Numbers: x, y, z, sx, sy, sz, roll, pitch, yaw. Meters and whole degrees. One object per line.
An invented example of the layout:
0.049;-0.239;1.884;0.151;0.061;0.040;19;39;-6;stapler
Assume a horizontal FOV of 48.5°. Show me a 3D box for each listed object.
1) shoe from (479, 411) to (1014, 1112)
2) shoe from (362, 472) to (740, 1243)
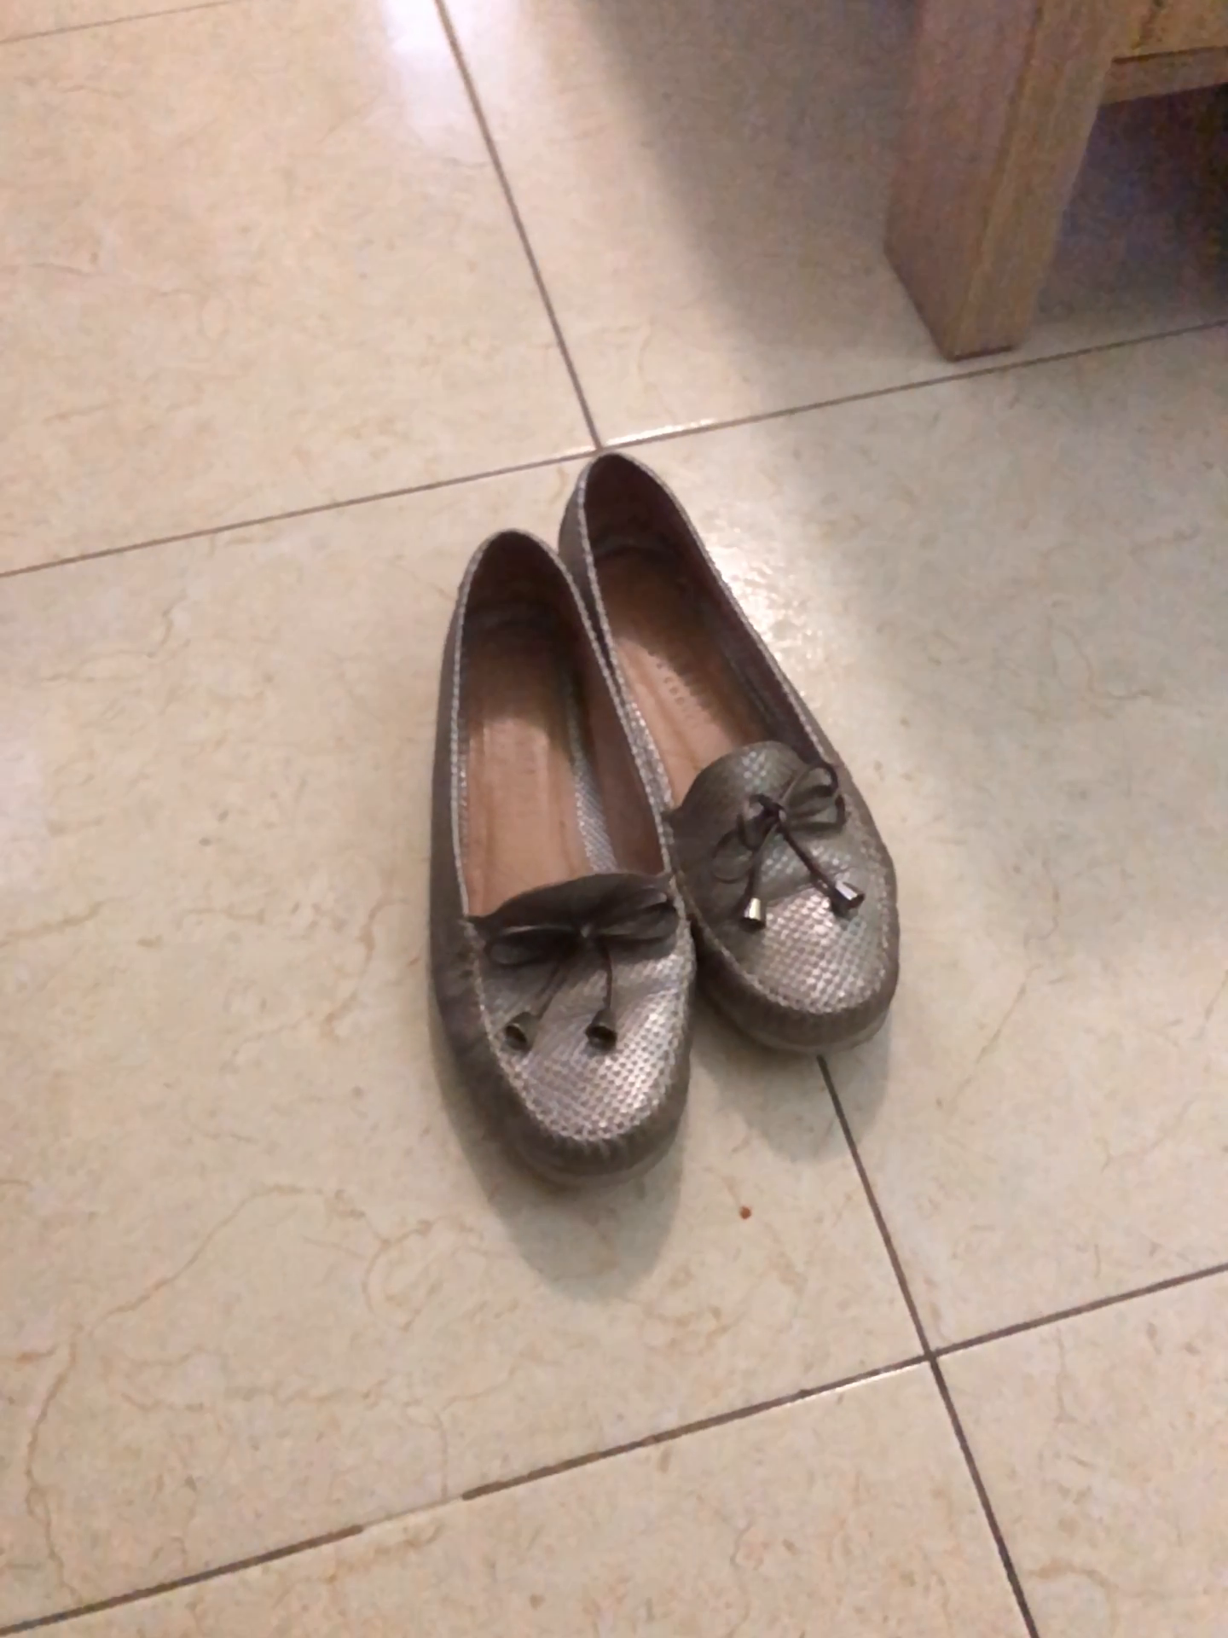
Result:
0.040;-0.033;0.556;0.100;0.080;0.271;-20;62;-10;shoe
-0.033;0.003;0.555;0.100;0.080;0.301;-9;60;-4;shoe
